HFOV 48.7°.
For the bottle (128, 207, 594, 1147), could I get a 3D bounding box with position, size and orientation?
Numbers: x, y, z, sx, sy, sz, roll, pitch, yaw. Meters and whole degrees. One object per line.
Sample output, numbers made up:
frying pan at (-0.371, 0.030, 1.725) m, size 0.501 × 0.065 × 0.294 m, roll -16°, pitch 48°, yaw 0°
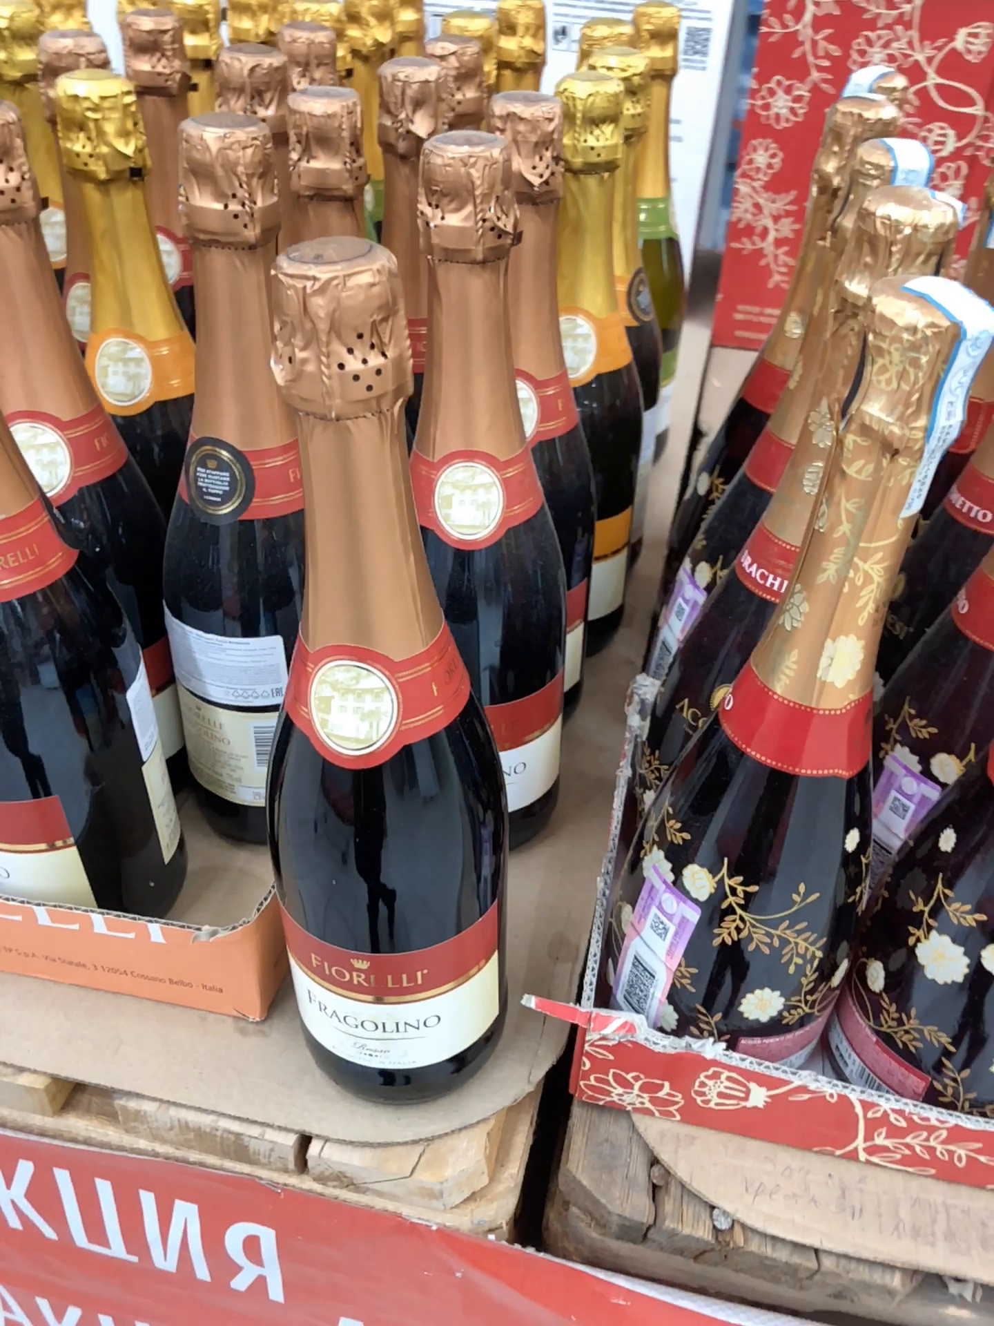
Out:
bottle at (-0.032, 0.025, 0.354) m, size 0.090 × 0.298 × 0.091 m, roll 2°, pitch 37°, yaw -1°
